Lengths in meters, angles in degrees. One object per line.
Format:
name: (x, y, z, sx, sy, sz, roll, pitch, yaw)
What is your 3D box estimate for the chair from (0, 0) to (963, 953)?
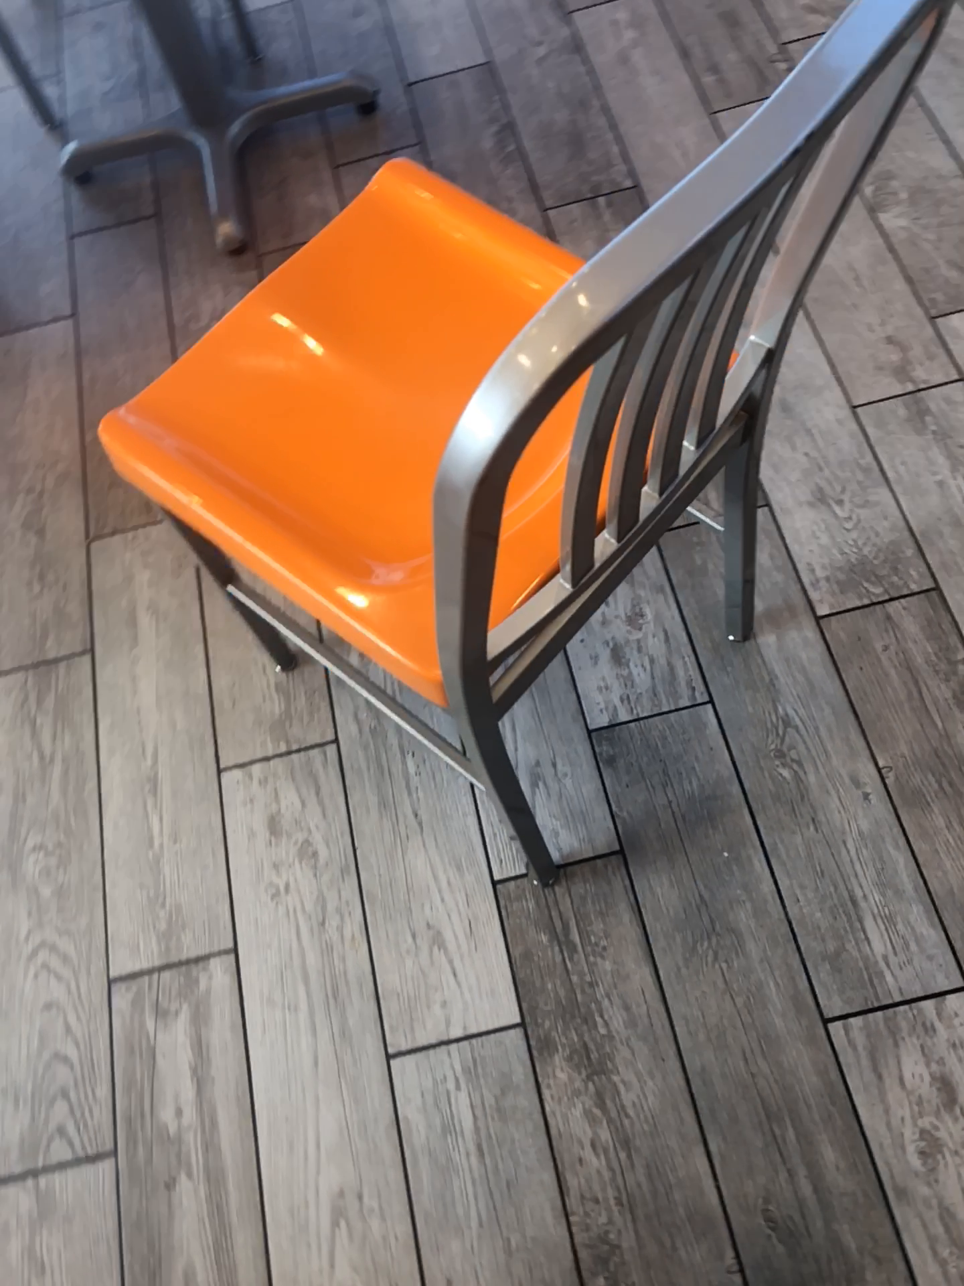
chair: (-0.056, -0.176, 0.848, 0.511, 0.819, 0.470, 36, 74, 22)
